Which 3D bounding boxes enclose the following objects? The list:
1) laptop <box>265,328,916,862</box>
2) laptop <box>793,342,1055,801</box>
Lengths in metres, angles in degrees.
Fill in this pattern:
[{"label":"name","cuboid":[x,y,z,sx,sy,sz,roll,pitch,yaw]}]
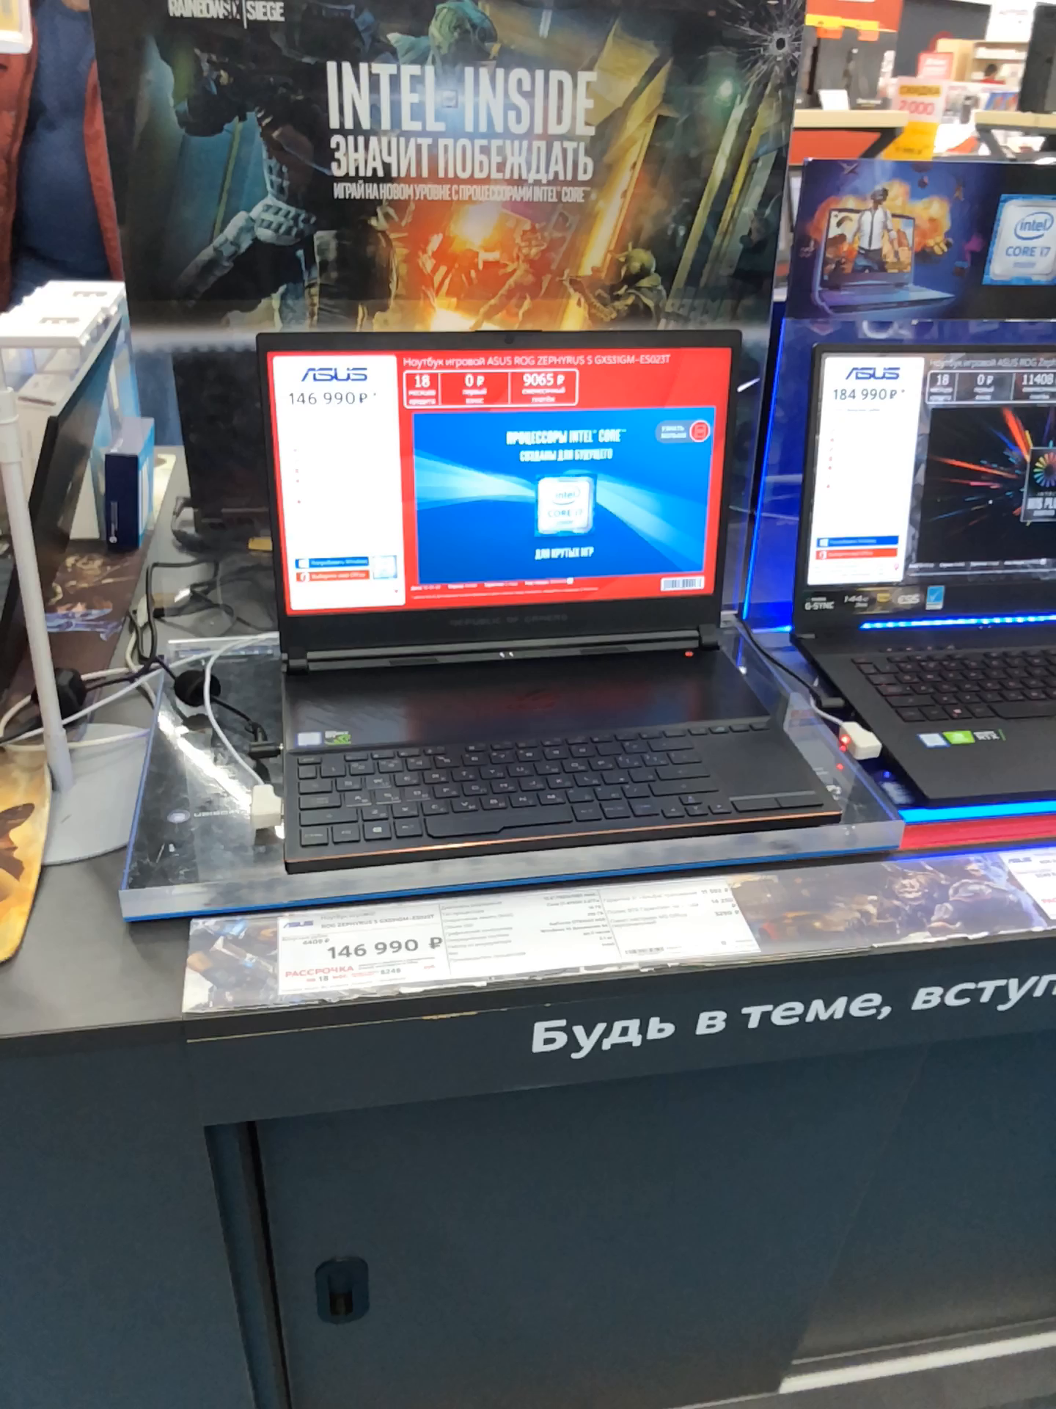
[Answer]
[{"label":"laptop","cuboid":[0.011,-0.095,0.779,0.349,0.241,0.279,-4,30,-10]},{"label":"laptop","cuboid":[0.425,-0.121,0.879,0.341,0.219,0.303,-3,30,-7]}]
